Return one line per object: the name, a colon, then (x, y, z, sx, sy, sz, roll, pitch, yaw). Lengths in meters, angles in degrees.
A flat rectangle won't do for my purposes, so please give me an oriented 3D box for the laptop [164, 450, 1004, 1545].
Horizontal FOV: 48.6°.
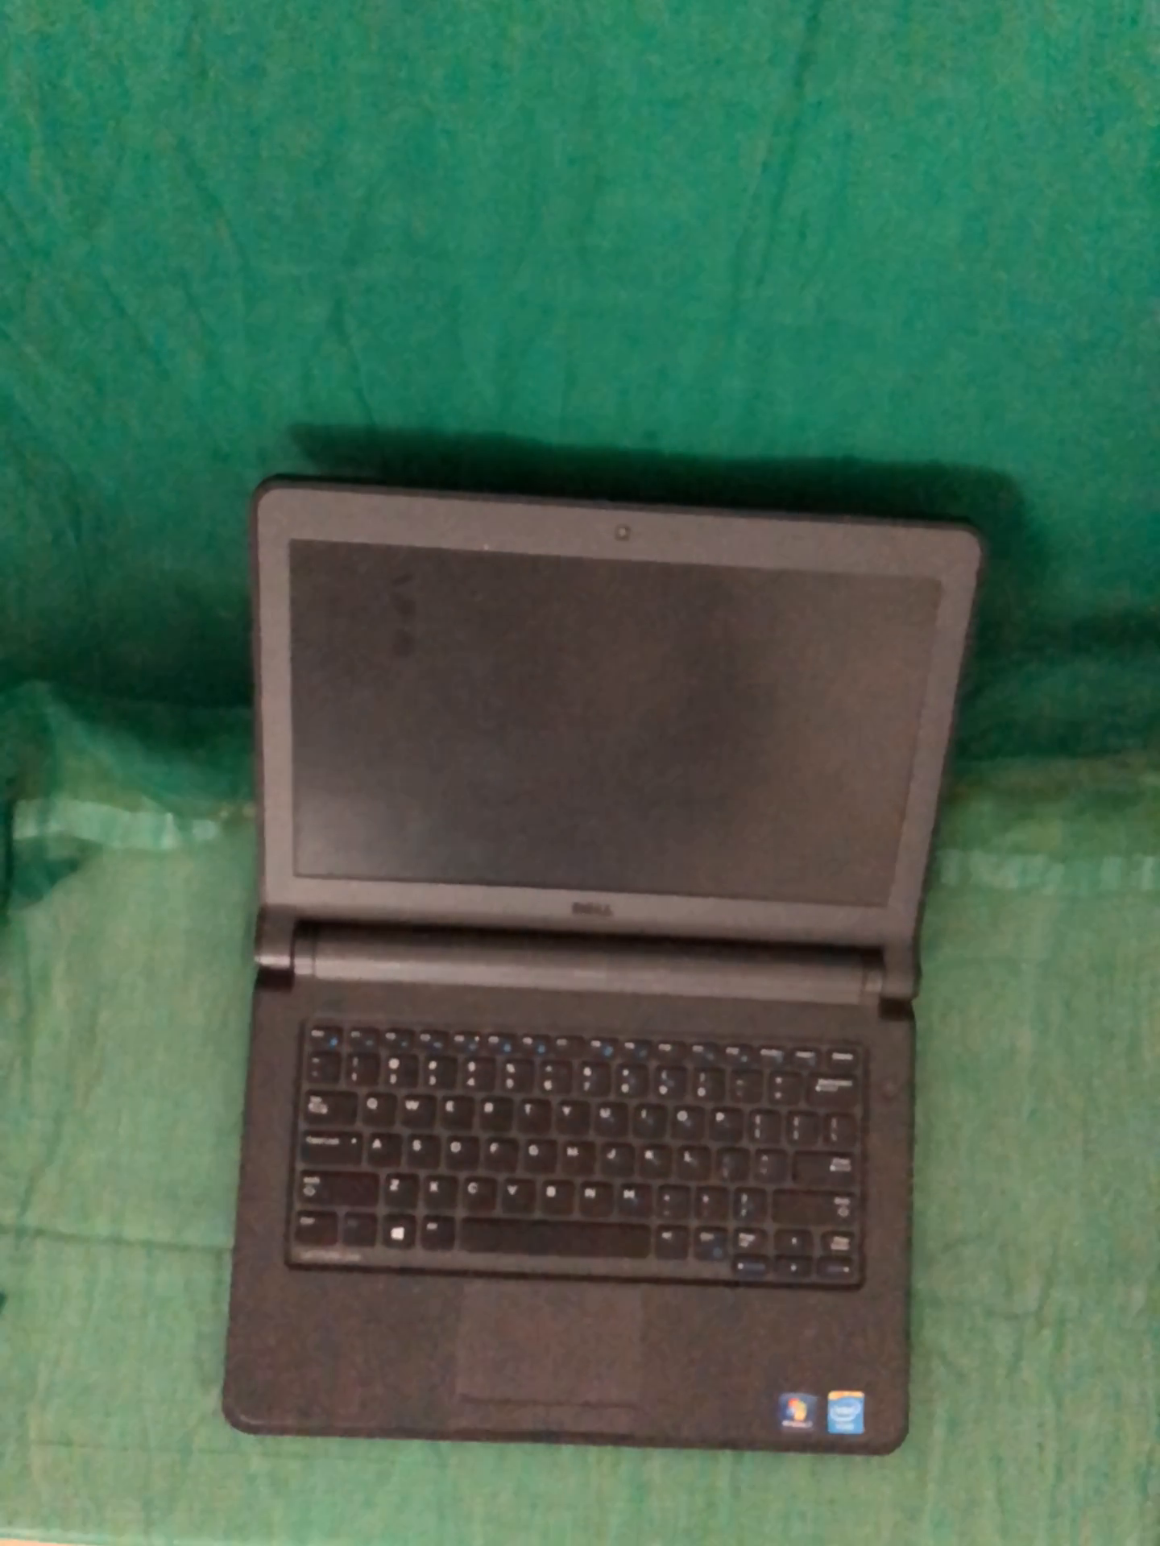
laptop: (0.006, 0.094, 0.557, 0.311, 0.096, 0.419, 3, 85, -2)
